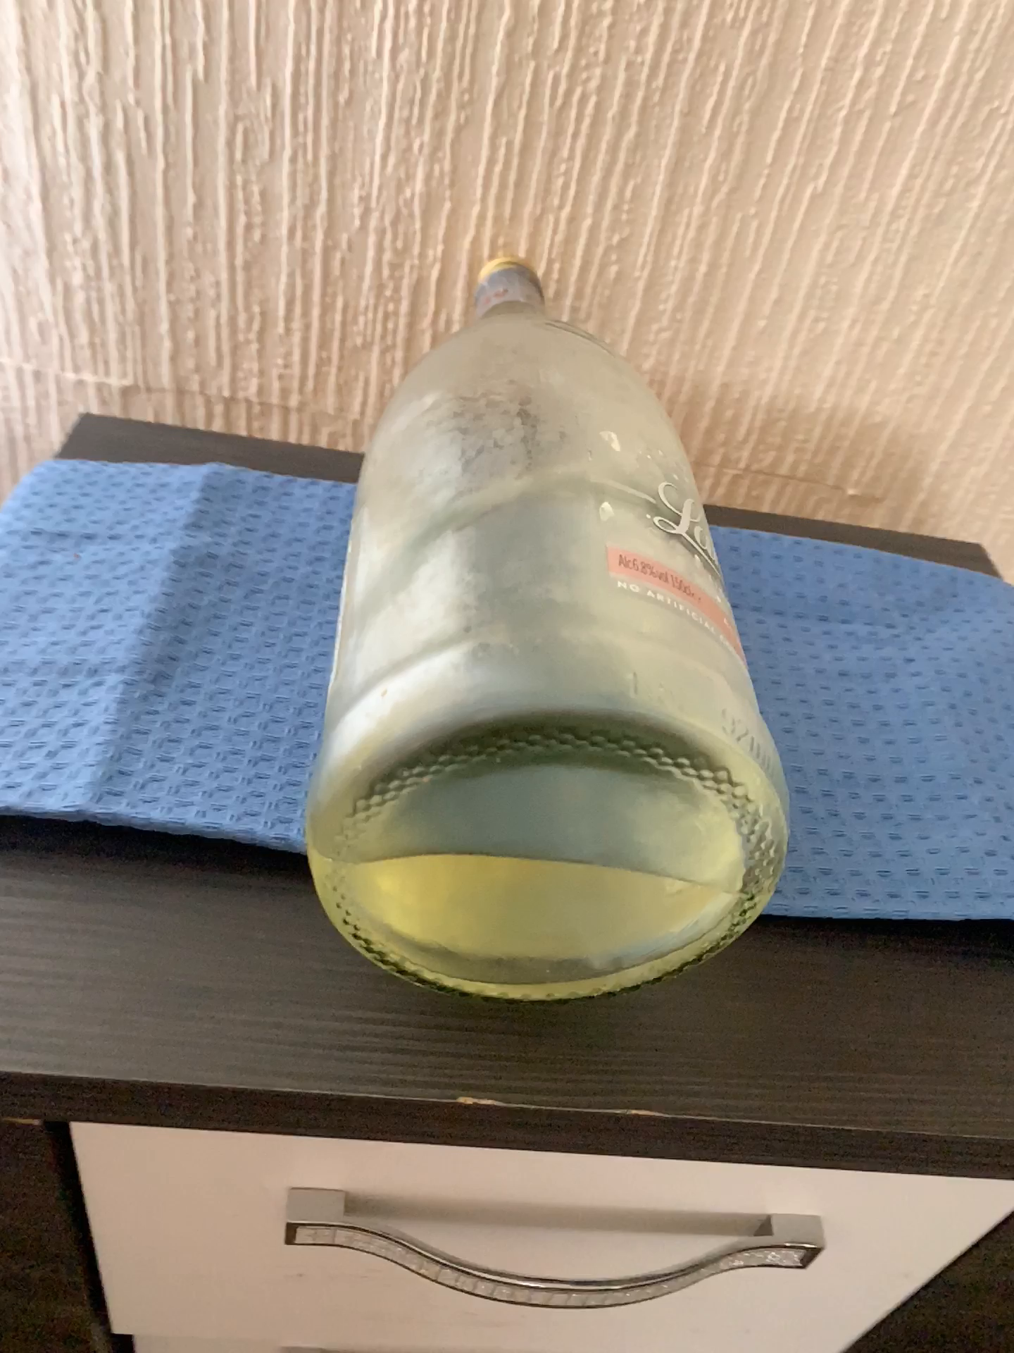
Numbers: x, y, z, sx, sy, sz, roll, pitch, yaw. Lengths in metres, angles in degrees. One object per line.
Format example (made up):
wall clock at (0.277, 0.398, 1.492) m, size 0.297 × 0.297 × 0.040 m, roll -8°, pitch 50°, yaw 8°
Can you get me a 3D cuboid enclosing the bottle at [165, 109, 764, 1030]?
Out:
bottle at (-0.007, -0.068, 0.347) m, size 0.110 × 0.119 × 0.323 m, roll -9°, pitch 43°, yaw 4°
